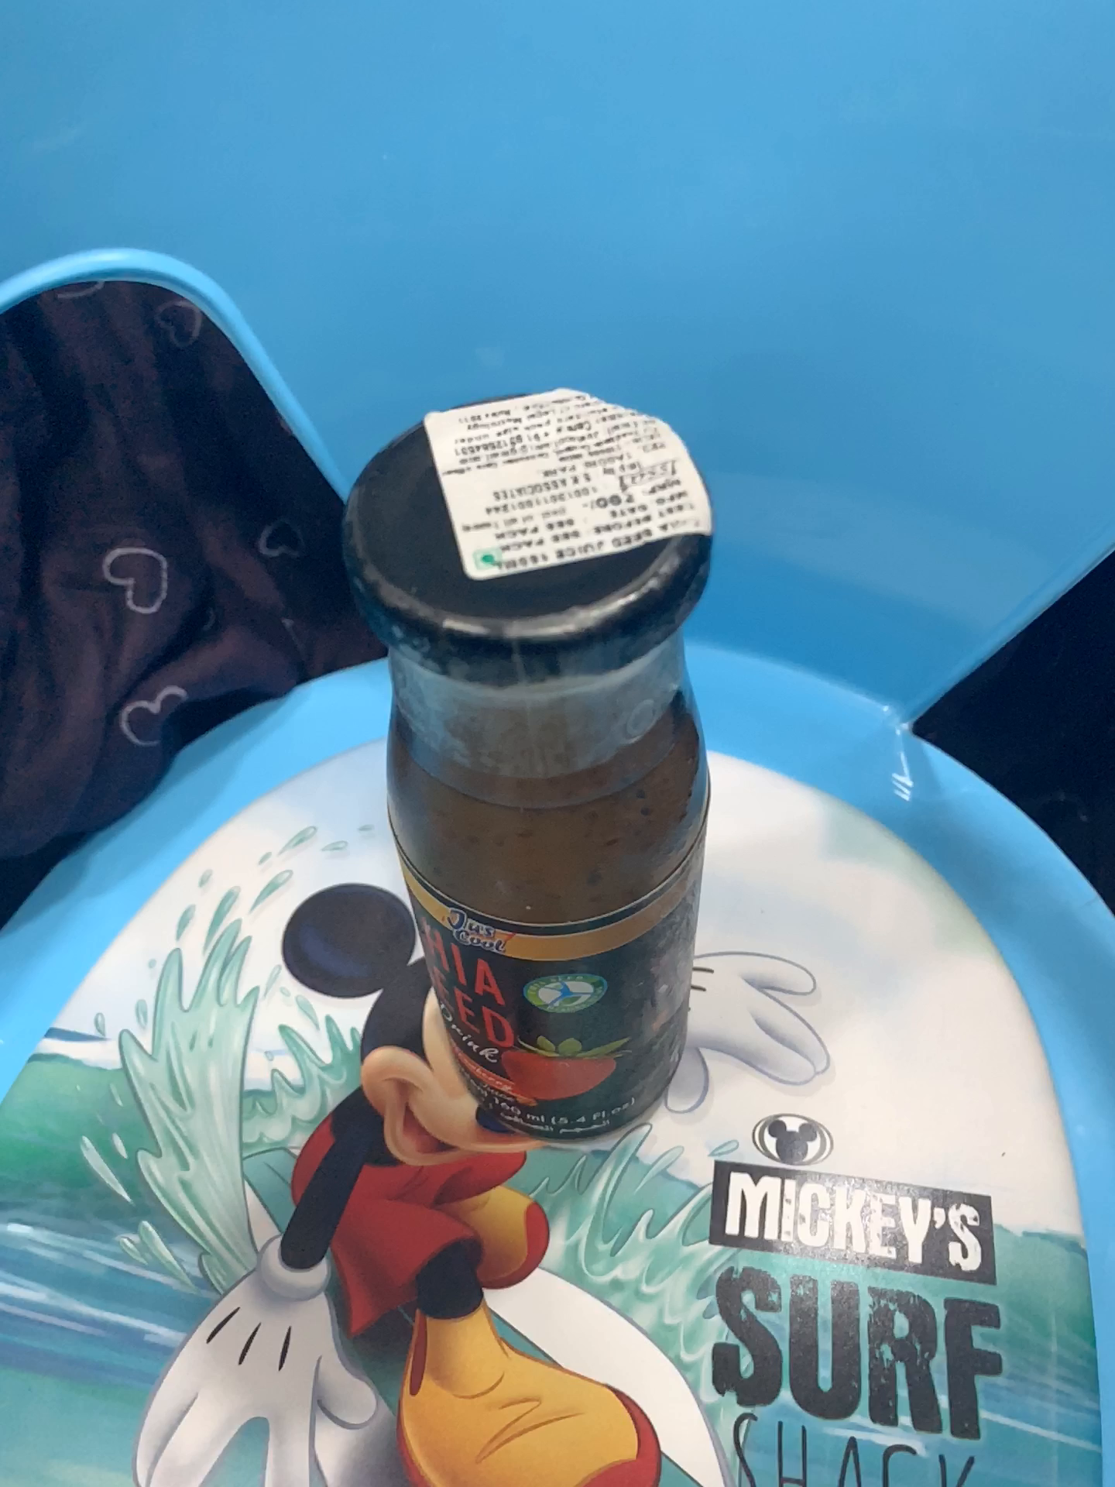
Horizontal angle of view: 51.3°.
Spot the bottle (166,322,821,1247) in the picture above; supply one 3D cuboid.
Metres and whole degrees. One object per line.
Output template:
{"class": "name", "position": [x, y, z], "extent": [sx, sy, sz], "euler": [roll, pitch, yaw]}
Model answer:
{"class": "bottle", "position": [-0.005, 0.016, 0.173], "extent": [0.050, 0.130, 0.050], "euler": [-1, 47, 1]}
